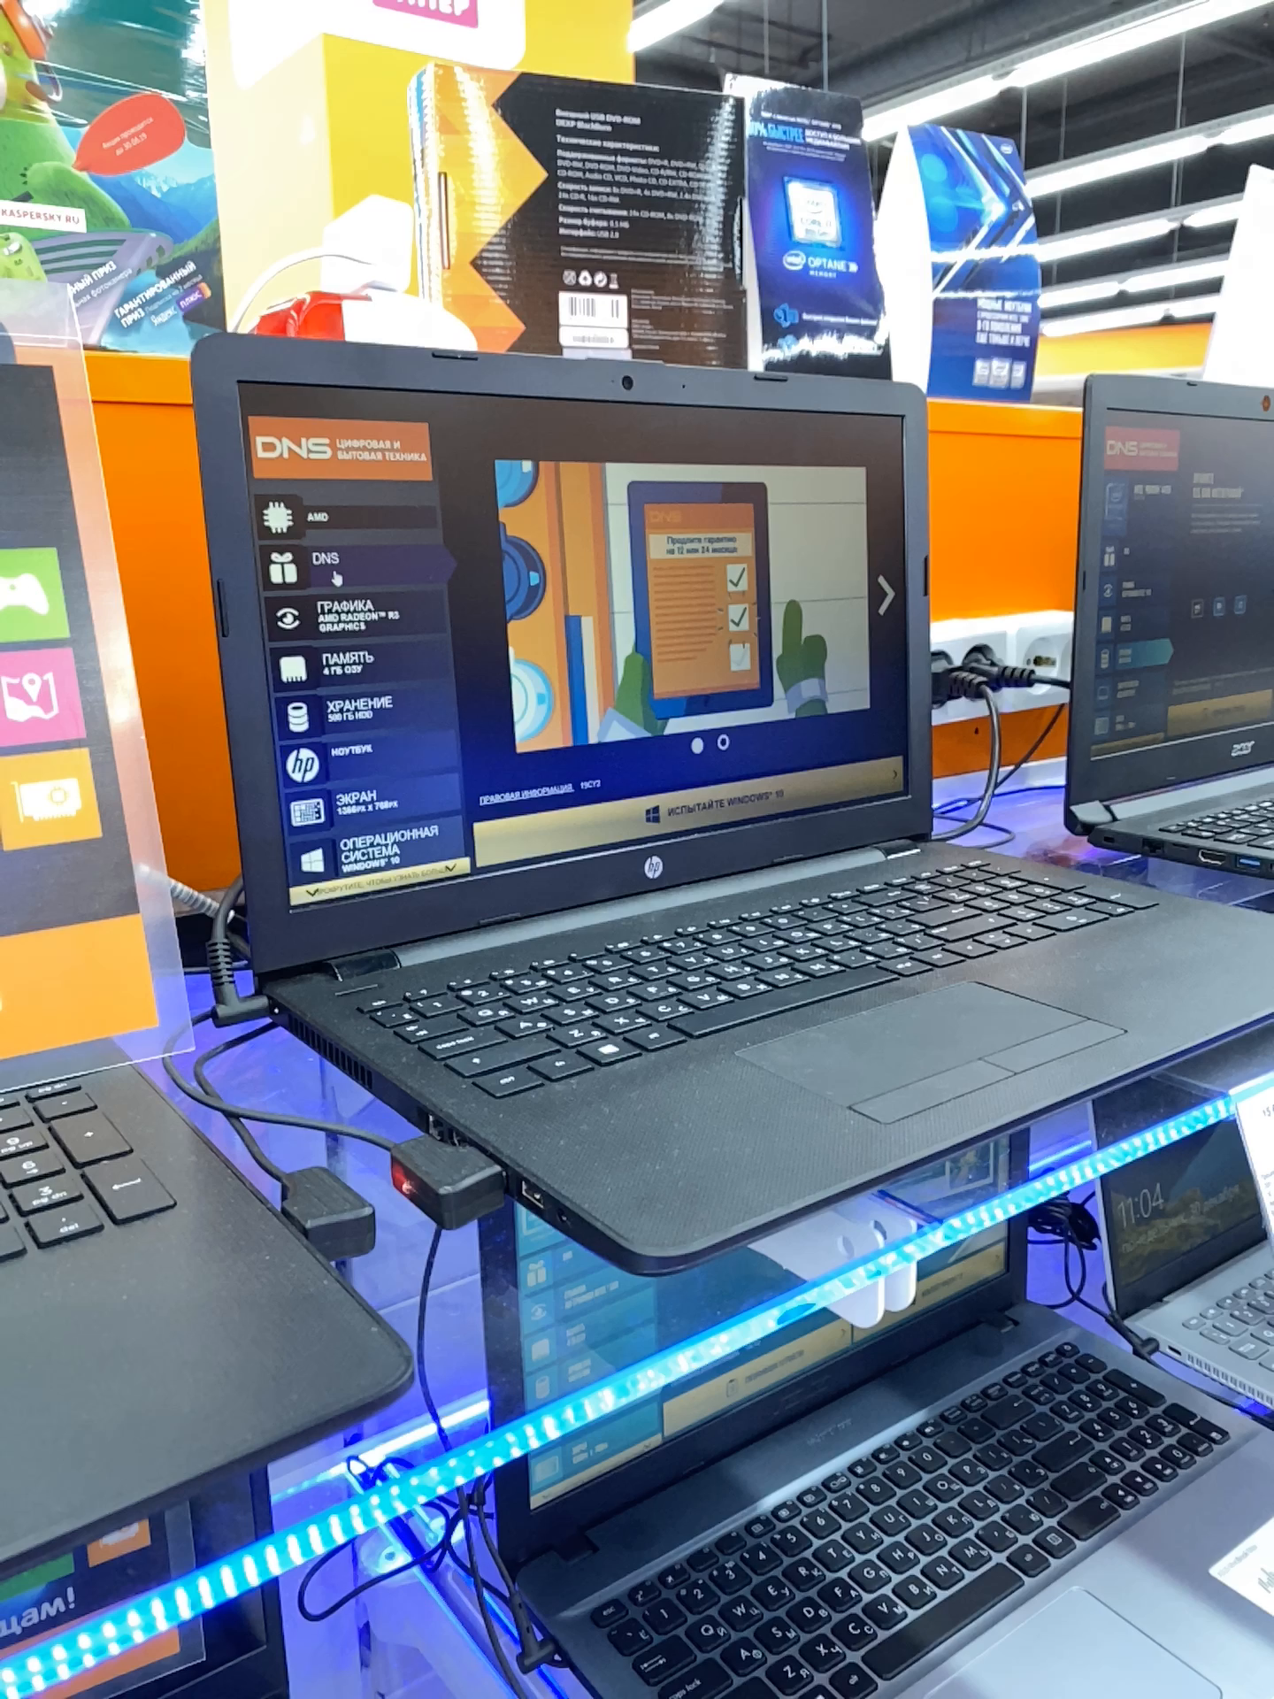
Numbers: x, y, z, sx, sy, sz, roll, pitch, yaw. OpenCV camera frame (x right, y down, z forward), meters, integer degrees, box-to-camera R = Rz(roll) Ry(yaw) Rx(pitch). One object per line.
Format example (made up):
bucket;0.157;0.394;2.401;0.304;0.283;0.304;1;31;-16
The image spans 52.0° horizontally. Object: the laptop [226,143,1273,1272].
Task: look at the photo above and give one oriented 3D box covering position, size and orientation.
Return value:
laptop;0.083;-0.069;0.484;0.369;0.231;0.272;-9;16;-36
